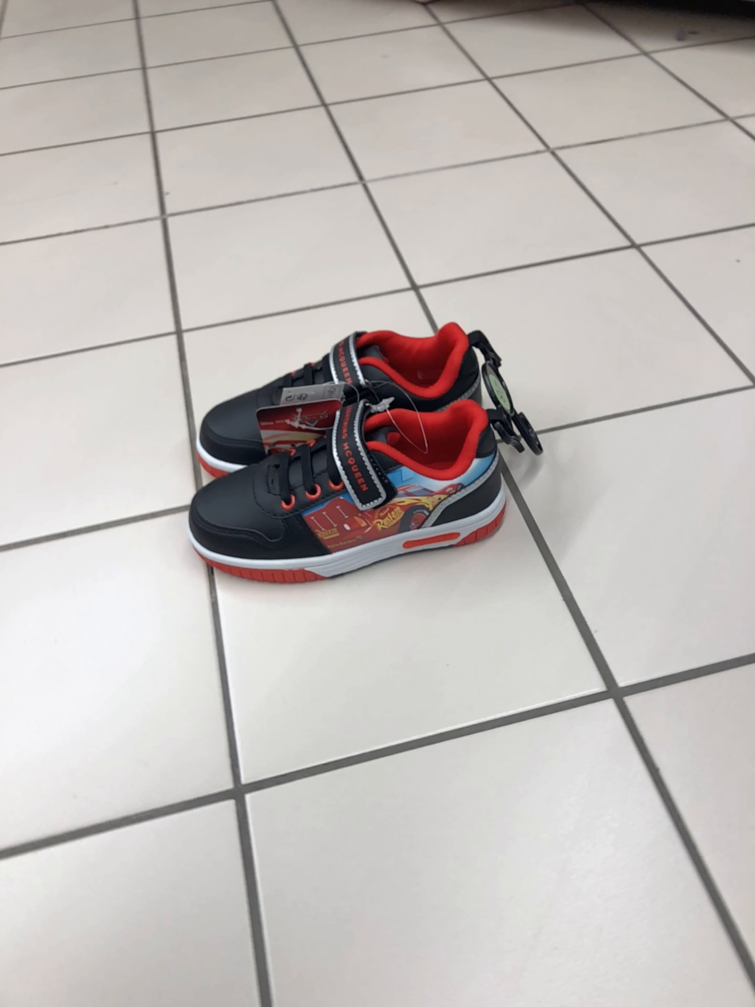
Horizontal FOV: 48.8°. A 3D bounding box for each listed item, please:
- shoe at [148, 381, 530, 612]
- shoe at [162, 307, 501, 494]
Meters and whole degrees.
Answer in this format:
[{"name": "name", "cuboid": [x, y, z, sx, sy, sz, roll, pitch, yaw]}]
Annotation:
[{"name": "shoe", "cuboid": [-0.025, -0.007, 0.496, 0.207, 0.053, 0.094, -10, 47, -4]}, {"name": "shoe", "cuboid": [-0.032, -0.070, 0.554, 0.209, 0.053, 0.080, -10, 47, -4]}]
